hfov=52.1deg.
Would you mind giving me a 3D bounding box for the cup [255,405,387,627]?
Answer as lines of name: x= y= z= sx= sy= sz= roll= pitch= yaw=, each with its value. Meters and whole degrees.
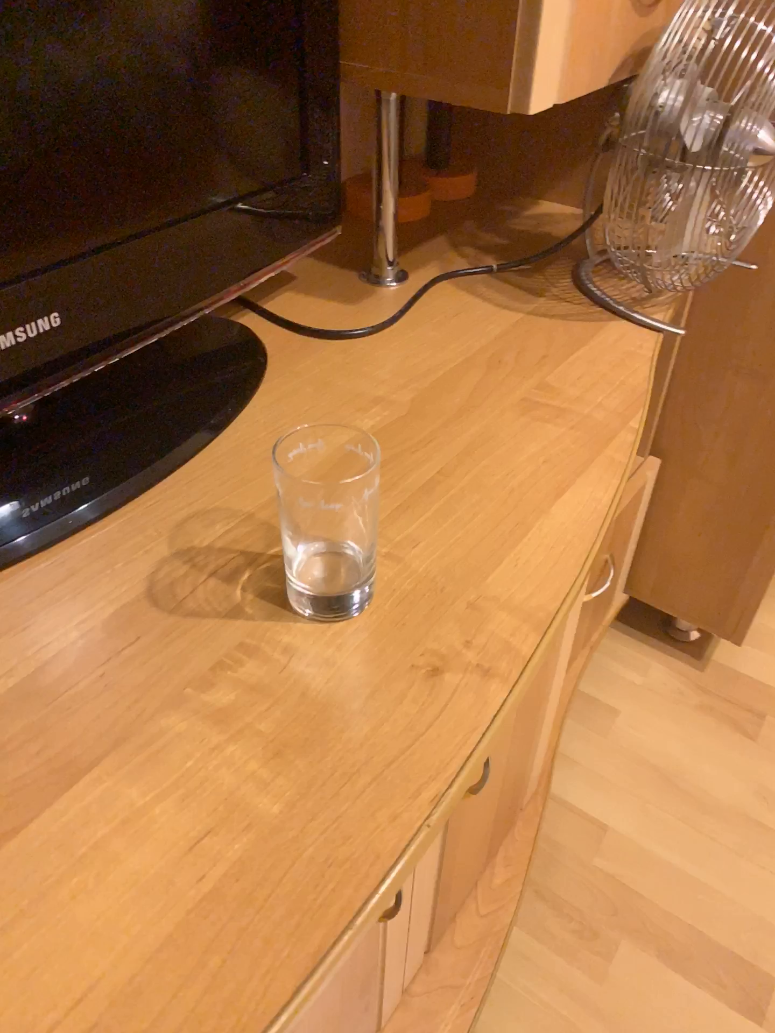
cup: x=-0.033 y=0.001 z=0.416 sx=0.060 sy=0.099 sz=0.061 roll=1 pitch=39 yaw=-1
